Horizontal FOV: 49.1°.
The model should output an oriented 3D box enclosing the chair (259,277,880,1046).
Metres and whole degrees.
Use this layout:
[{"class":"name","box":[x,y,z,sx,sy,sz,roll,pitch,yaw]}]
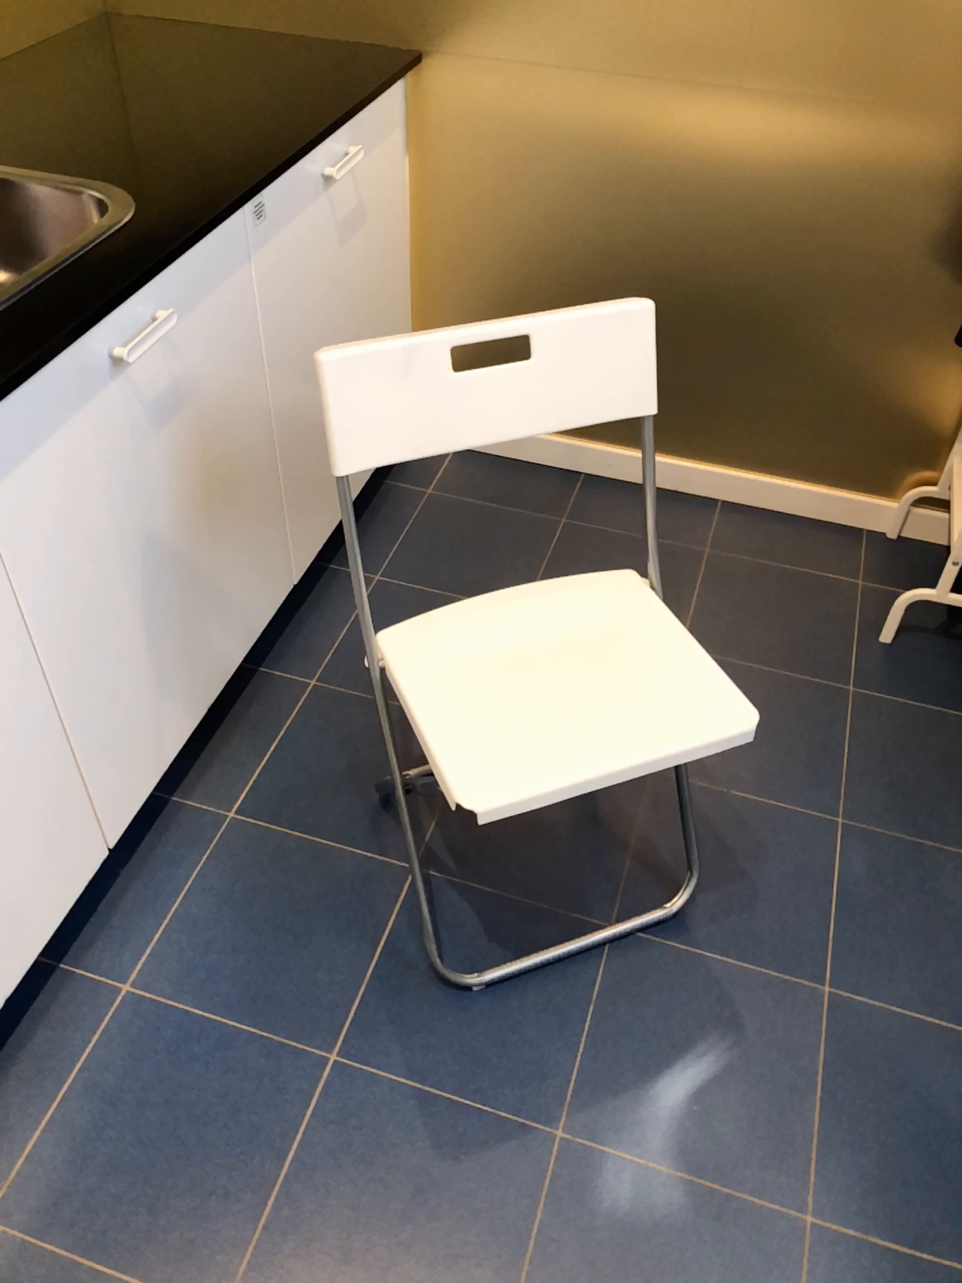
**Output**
[{"class":"chair","box":[0.056,0.035,1.395,0.490,0.775,0.523,-14,46,-16]}]
